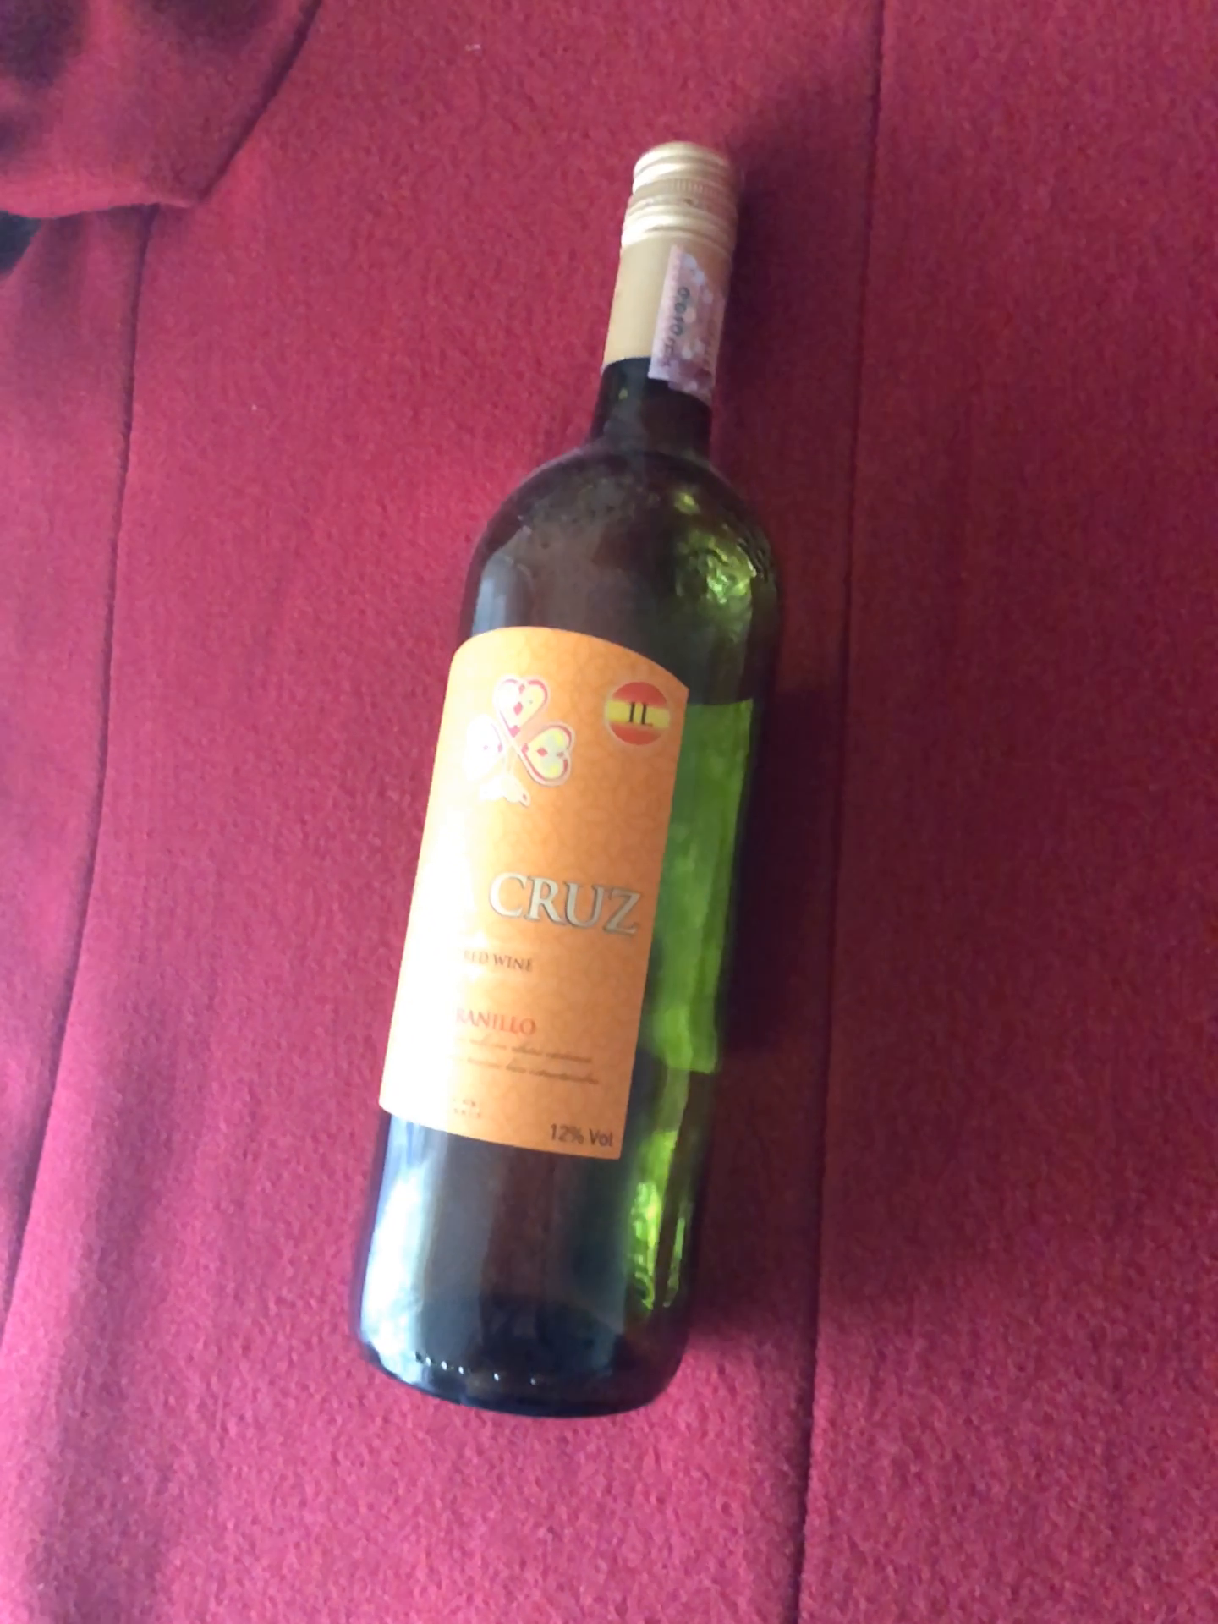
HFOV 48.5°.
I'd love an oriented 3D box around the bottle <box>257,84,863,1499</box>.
[{"bbox_3d":[-0.006,-0.010,0.331,0.080,0.070,0.300,5,83,29],"label":"bottle"}]
